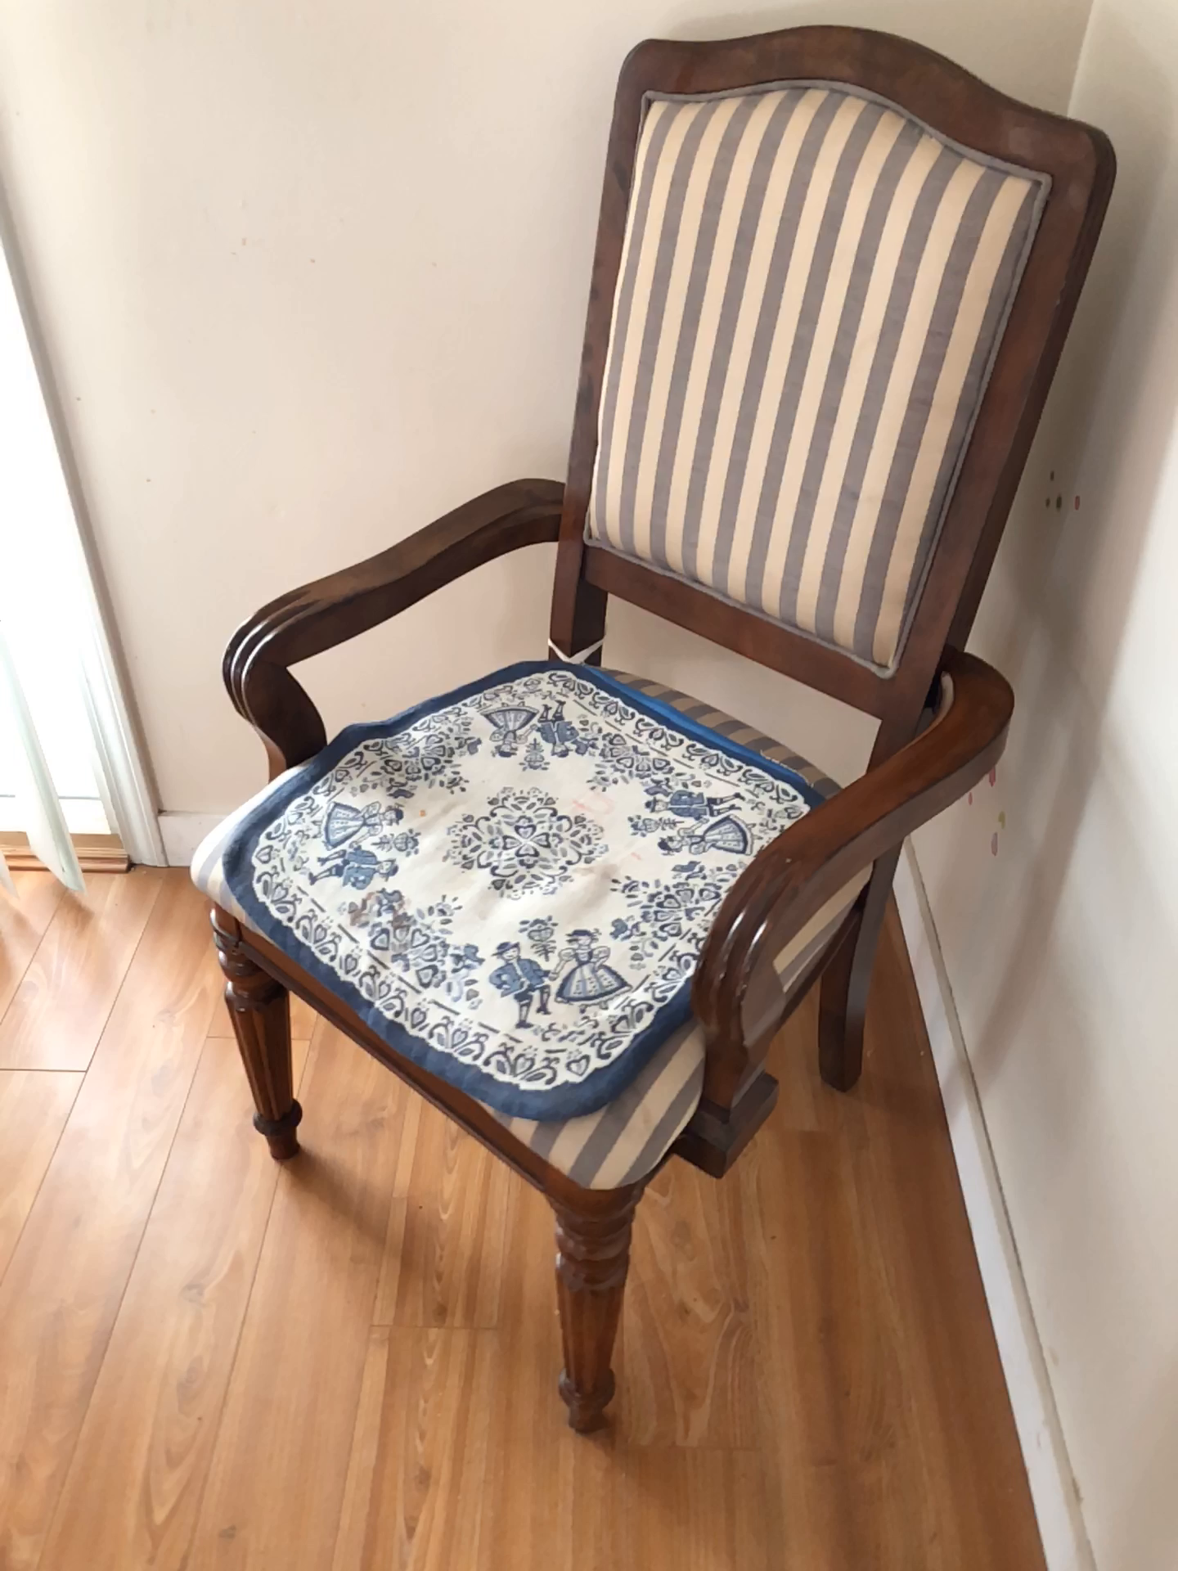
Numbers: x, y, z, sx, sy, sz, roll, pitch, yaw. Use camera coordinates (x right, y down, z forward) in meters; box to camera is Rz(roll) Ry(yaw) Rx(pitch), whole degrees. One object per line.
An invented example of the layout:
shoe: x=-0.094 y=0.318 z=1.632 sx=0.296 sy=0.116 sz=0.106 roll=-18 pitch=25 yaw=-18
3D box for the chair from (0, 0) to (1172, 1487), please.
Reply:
chair: x=-0.016 y=-0.035 z=1.111 sx=0.532 sy=1.042 sz=0.582 roll=27 pitch=46 yaw=29
